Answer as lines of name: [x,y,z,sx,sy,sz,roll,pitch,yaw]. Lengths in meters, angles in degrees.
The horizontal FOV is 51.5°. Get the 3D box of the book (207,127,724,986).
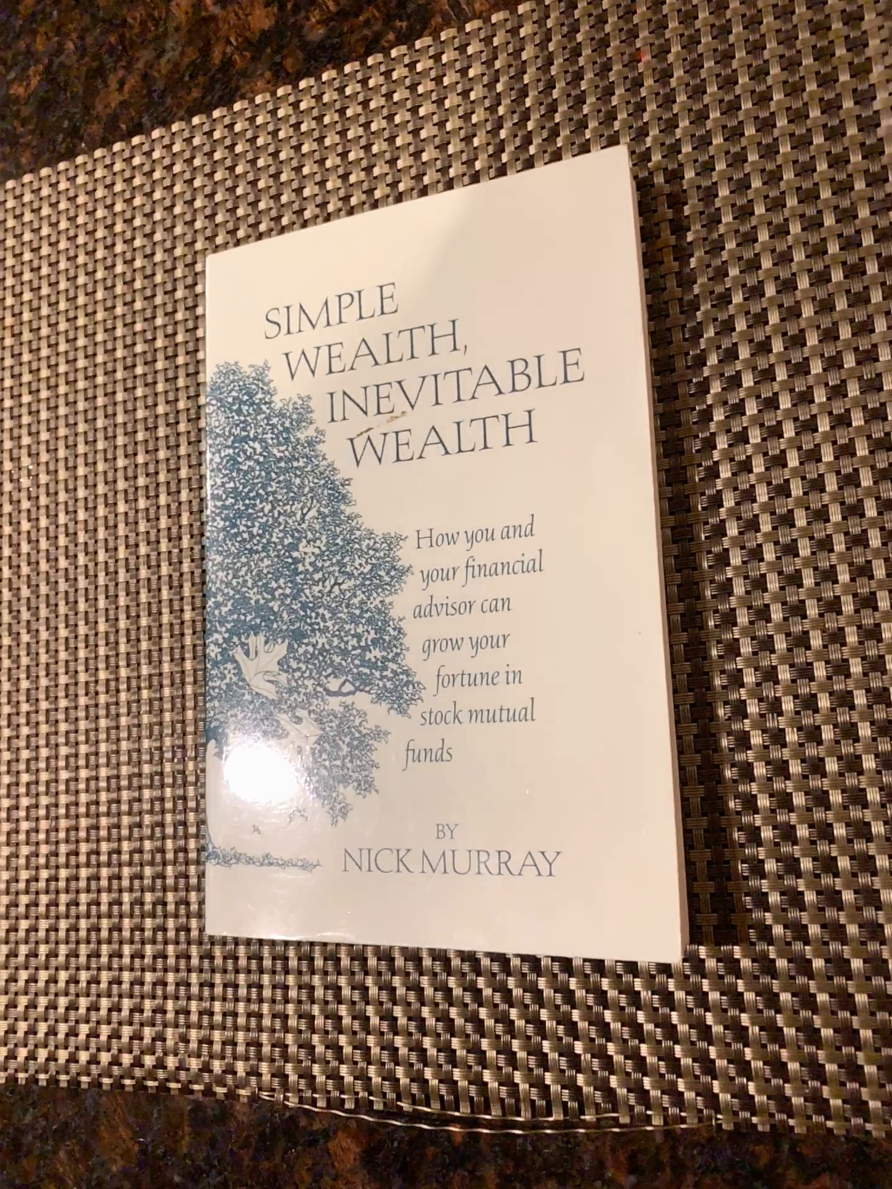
book: [-0.001,-0.010,0.260,0.141,0.021,0.210,-4,83,22]
